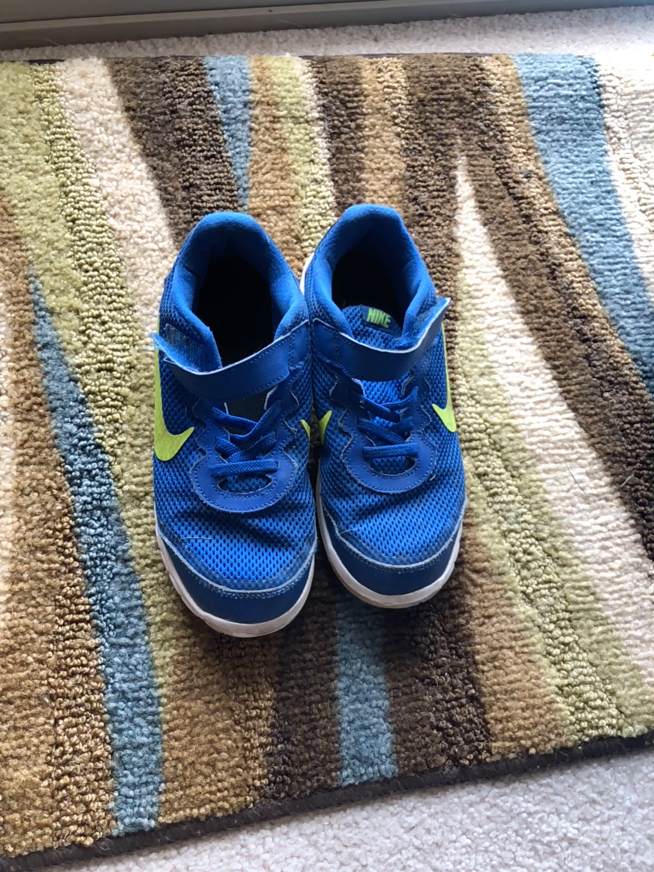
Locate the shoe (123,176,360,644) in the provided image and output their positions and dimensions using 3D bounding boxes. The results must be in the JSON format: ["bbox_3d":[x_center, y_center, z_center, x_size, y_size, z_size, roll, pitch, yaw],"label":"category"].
[{"bbox_3d":[-0.049,-0.015,0.385,0.102,0.075,0.233,-1,71,-9],"label":"shoe"}]

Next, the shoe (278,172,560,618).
[{"bbox_3d":[0.039,-0.026,0.402,0.103,0.075,0.231,-4,72,-10],"label":"shoe"}]
